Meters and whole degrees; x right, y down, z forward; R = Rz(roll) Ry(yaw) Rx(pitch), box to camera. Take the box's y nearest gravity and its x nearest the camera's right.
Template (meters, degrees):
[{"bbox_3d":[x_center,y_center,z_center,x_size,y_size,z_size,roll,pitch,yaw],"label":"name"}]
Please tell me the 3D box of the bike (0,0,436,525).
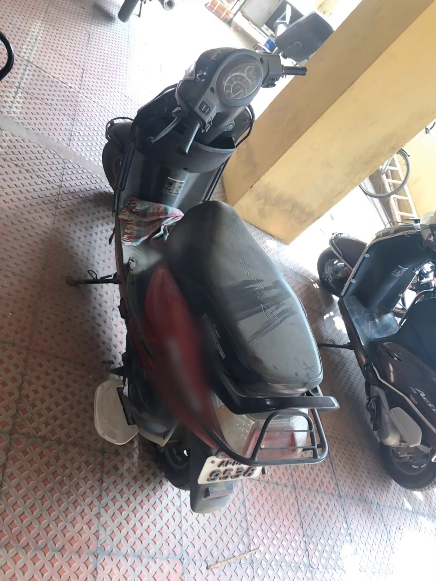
[{"bbox_3d":[-0.178,-0.282,1.593,0.601,1.030,1.653,11,47,-43],"label":"bike"}]
